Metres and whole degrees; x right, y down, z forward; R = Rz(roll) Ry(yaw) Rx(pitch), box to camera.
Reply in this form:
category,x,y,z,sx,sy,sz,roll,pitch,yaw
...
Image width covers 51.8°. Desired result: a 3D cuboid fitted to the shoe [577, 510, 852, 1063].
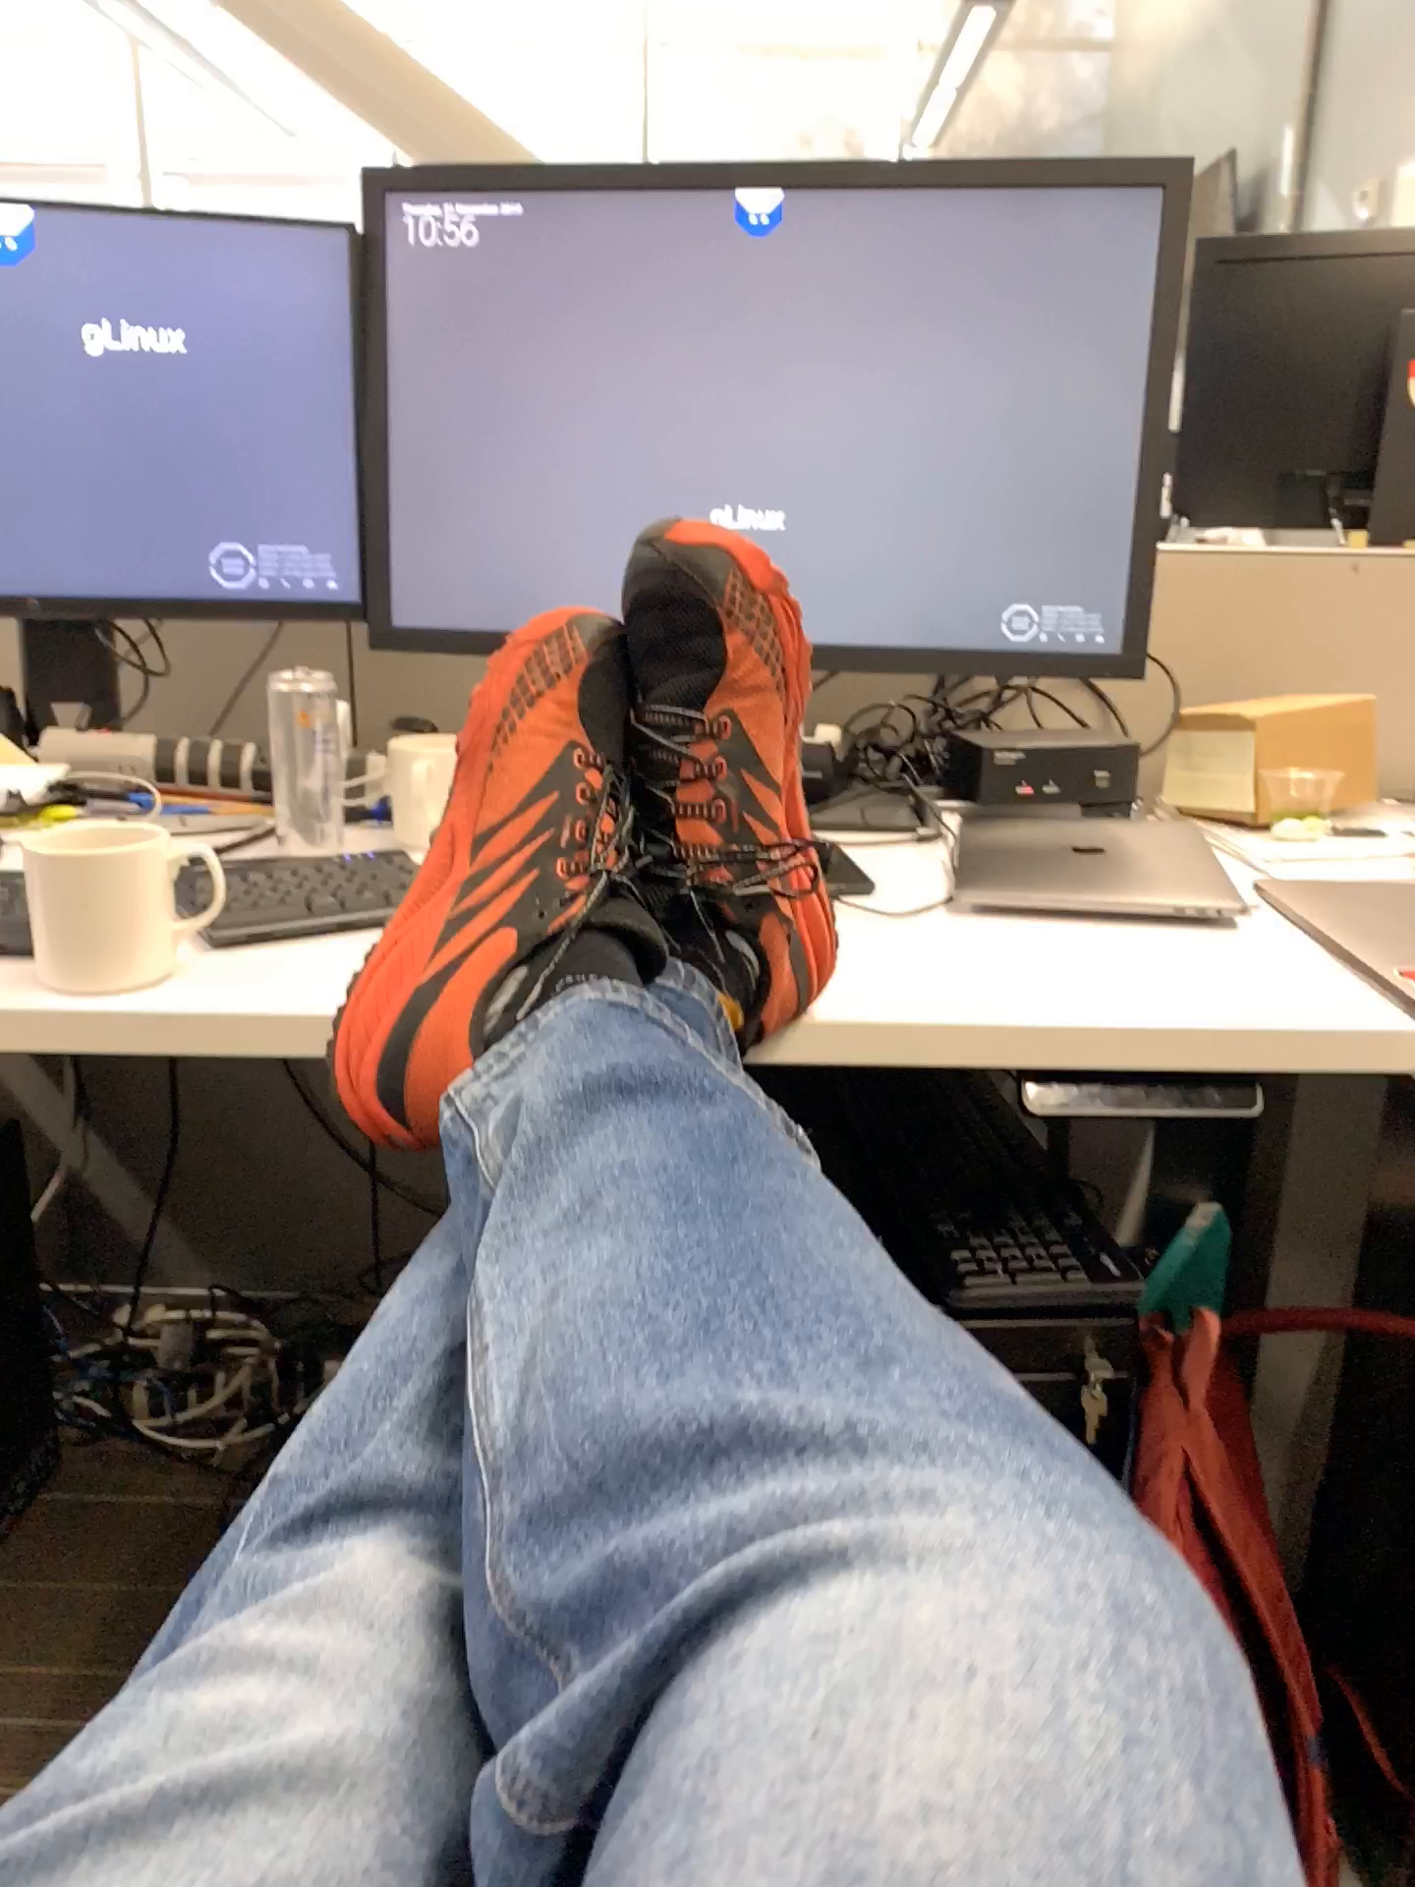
category,x,y,z,sx,sy,sz,roll,pitch,yaw
shoe,0.008,-0.086,0.777,0.107,0.272,0.082,7,19,31

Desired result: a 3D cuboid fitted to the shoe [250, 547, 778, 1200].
category,x,y,z,sx,sy,sz,roll,pitch,yaw
shoe,-0.087,-0.042,0.703,0.133,0.289,0.091,10,-17,34
